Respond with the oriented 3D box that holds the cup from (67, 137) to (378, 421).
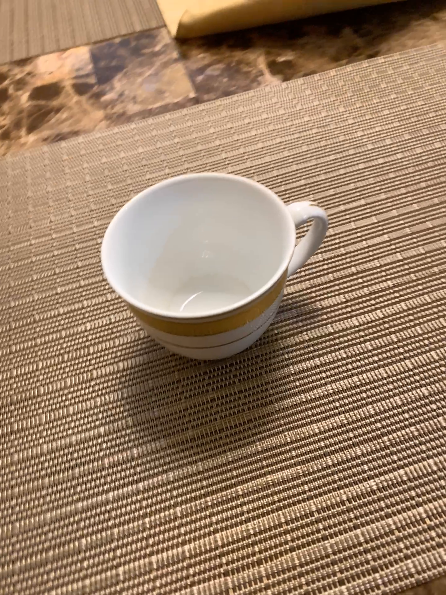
[{"bbox_3d":[-0.003,-0.011,0.209,0.103,0.055,0.083,-21,55,-9],"label":"cup"}]
